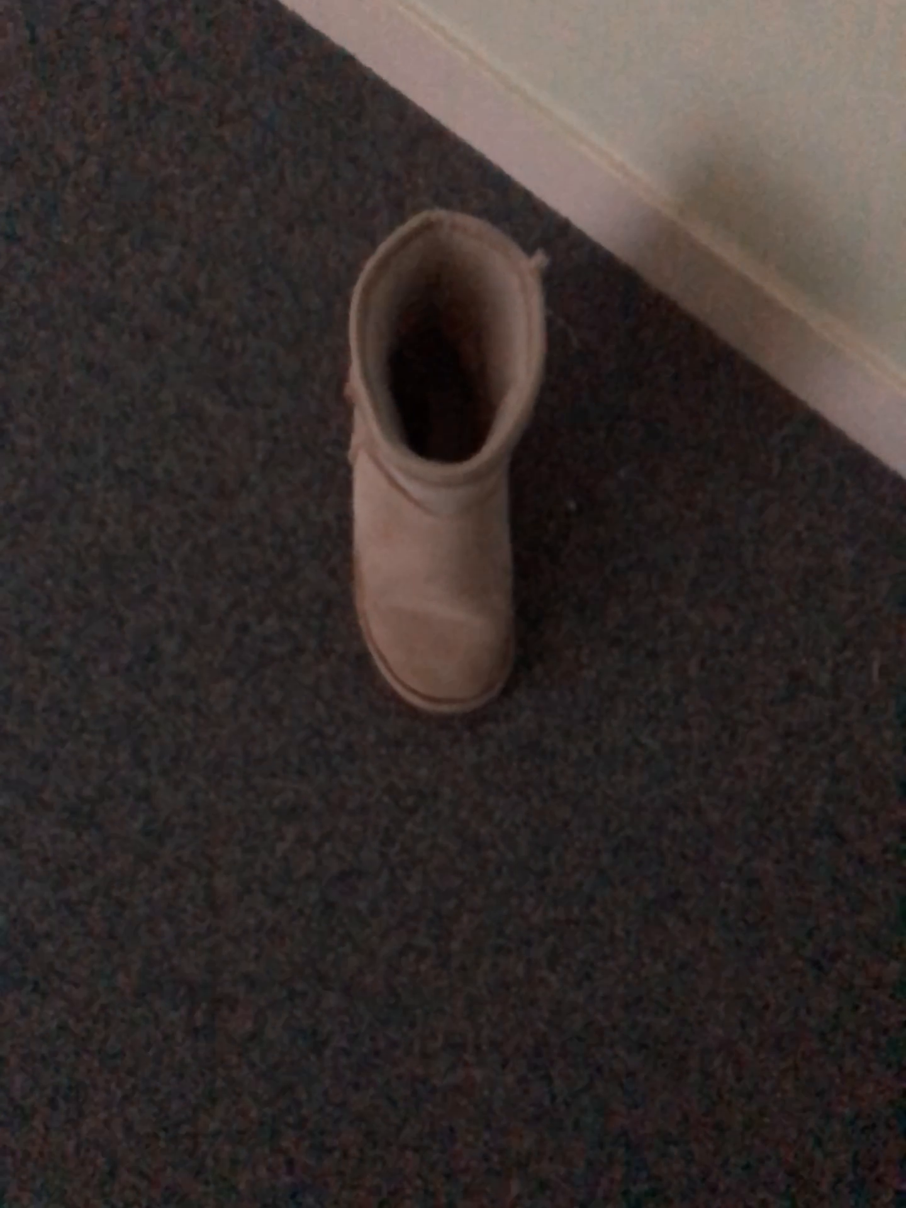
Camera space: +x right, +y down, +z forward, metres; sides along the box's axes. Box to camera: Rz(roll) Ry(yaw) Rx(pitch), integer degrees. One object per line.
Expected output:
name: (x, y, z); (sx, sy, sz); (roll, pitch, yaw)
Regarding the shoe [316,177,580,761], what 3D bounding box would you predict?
shoe: (-0.008, -0.058, 0.569); (0.120, 0.210, 0.270); (0, 87, -3)
